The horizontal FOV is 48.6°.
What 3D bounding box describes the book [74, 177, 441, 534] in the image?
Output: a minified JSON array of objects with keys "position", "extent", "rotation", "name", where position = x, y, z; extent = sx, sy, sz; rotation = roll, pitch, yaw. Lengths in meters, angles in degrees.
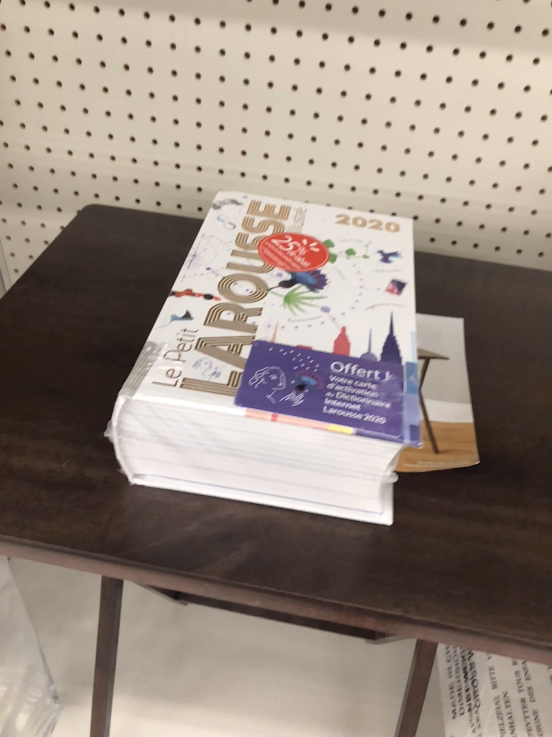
[{"position":[0.004,-0.028,0.388],"extent":[0.170,0.069,0.232],"rotation":[9,42,3],"name":"book"}]
